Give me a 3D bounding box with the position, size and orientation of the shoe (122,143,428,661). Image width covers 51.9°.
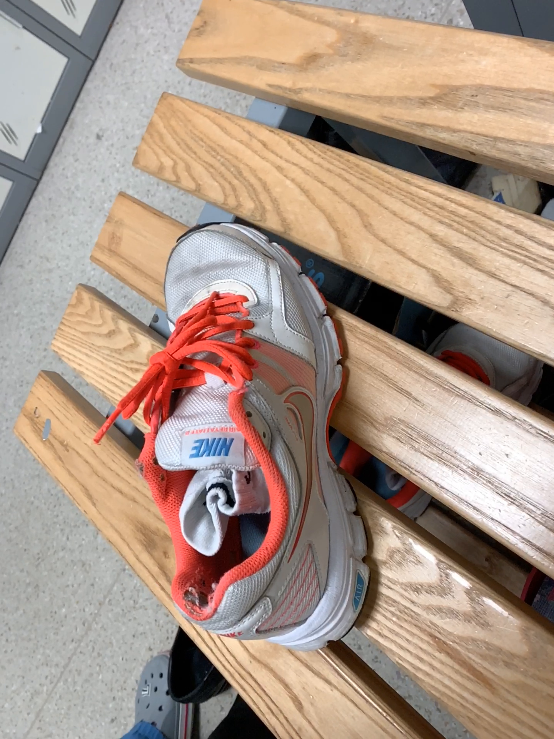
[{"bbox_3d":[-0.009,0.019,0.318,0.110,0.079,0.242,-19,72,30],"label":"shoe"}]
